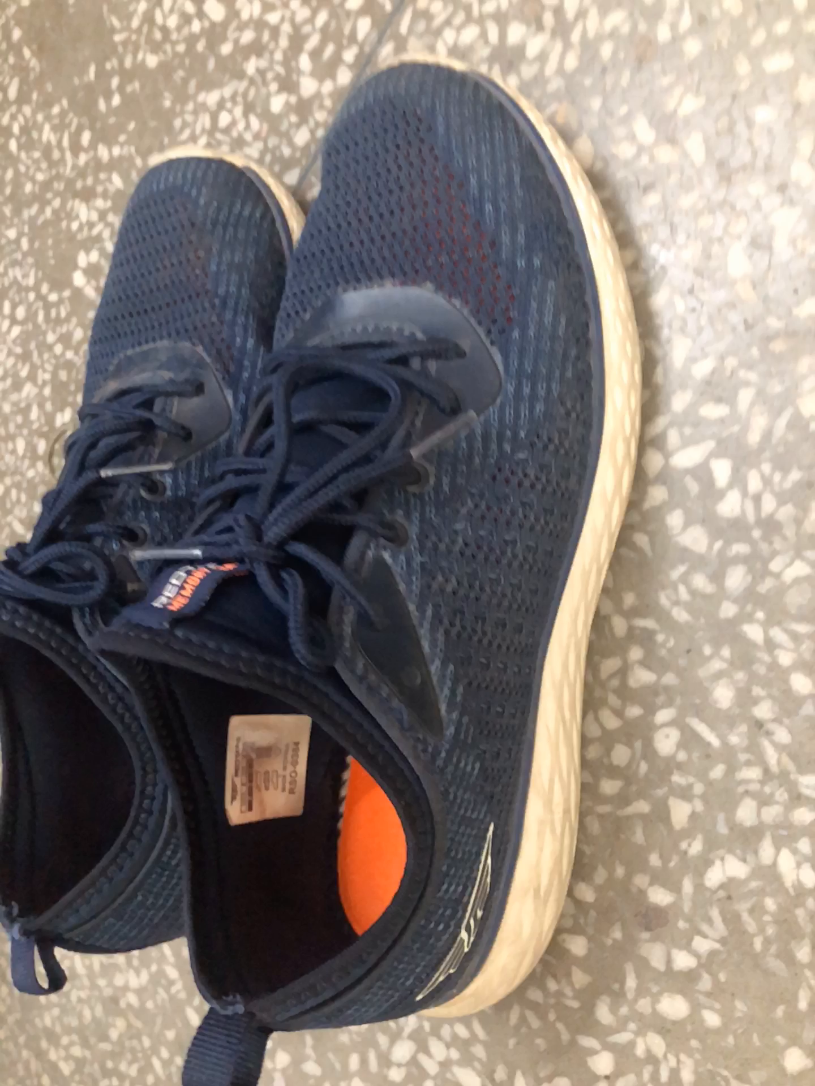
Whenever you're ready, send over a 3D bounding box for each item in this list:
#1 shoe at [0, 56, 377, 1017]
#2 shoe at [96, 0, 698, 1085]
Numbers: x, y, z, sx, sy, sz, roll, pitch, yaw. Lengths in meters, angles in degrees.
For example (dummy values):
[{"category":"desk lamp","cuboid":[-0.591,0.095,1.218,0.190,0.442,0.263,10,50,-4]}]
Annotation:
[{"category":"shoe","cuboid":[-0.091,-0.001,0.310,0.114,0.099,0.249,-3,89,36]},{"category":"shoe","cuboid":[-0.001,-0.010,0.247,0.124,0.099,0.249,-1,90,36]}]
